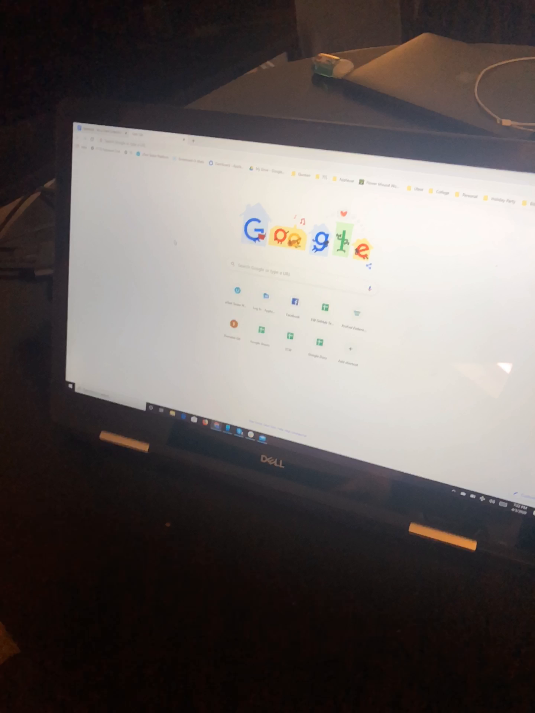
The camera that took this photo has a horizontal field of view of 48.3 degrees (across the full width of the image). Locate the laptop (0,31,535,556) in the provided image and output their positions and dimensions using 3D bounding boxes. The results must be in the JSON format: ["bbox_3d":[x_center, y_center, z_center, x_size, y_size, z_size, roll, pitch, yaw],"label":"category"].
[{"bbox_3d":[0.043,-0.076,0.473,0.419,0.232,0.268,13,51,18],"label":"laptop"}]
